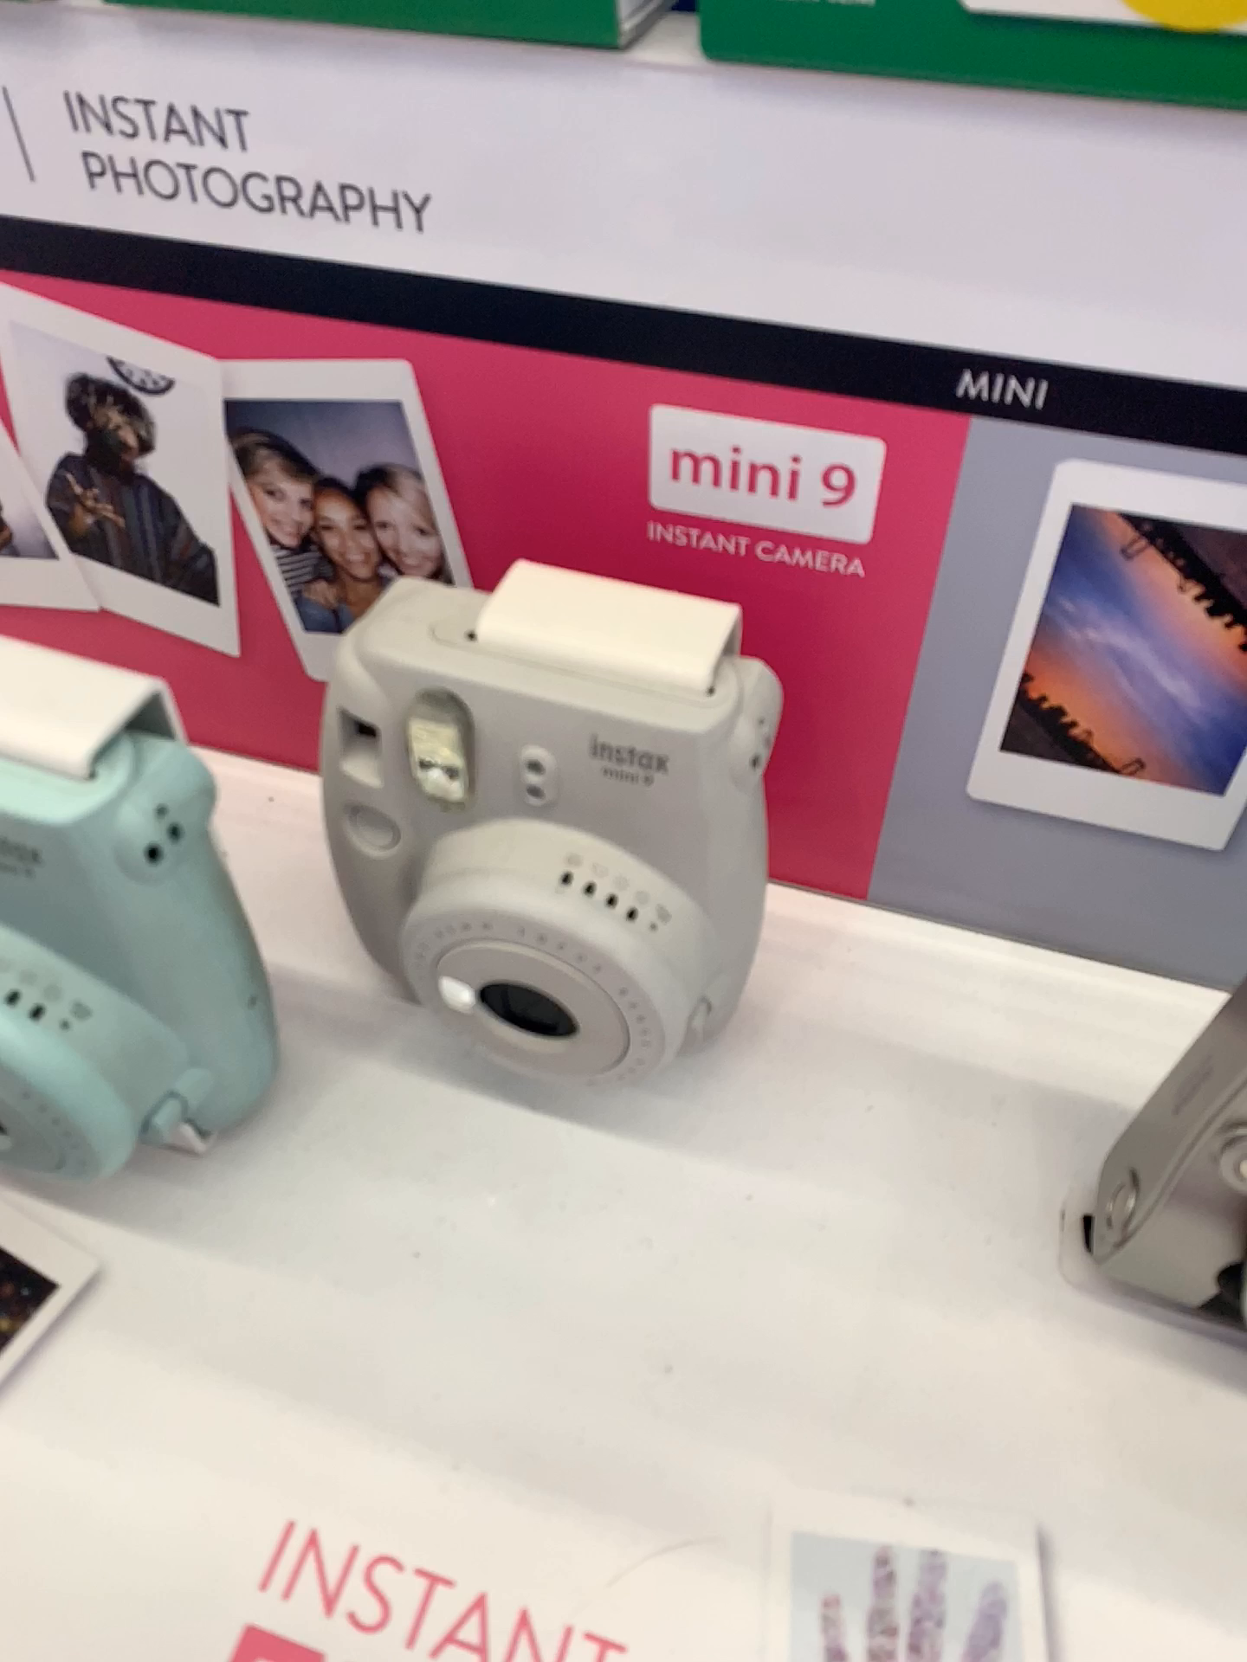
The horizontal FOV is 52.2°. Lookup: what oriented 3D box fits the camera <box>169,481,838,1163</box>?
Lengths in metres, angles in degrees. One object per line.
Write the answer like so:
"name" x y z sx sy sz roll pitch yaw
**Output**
"camera" -0.020 -0.002 0.293 0.110 0.109 0.081 14 48 13
